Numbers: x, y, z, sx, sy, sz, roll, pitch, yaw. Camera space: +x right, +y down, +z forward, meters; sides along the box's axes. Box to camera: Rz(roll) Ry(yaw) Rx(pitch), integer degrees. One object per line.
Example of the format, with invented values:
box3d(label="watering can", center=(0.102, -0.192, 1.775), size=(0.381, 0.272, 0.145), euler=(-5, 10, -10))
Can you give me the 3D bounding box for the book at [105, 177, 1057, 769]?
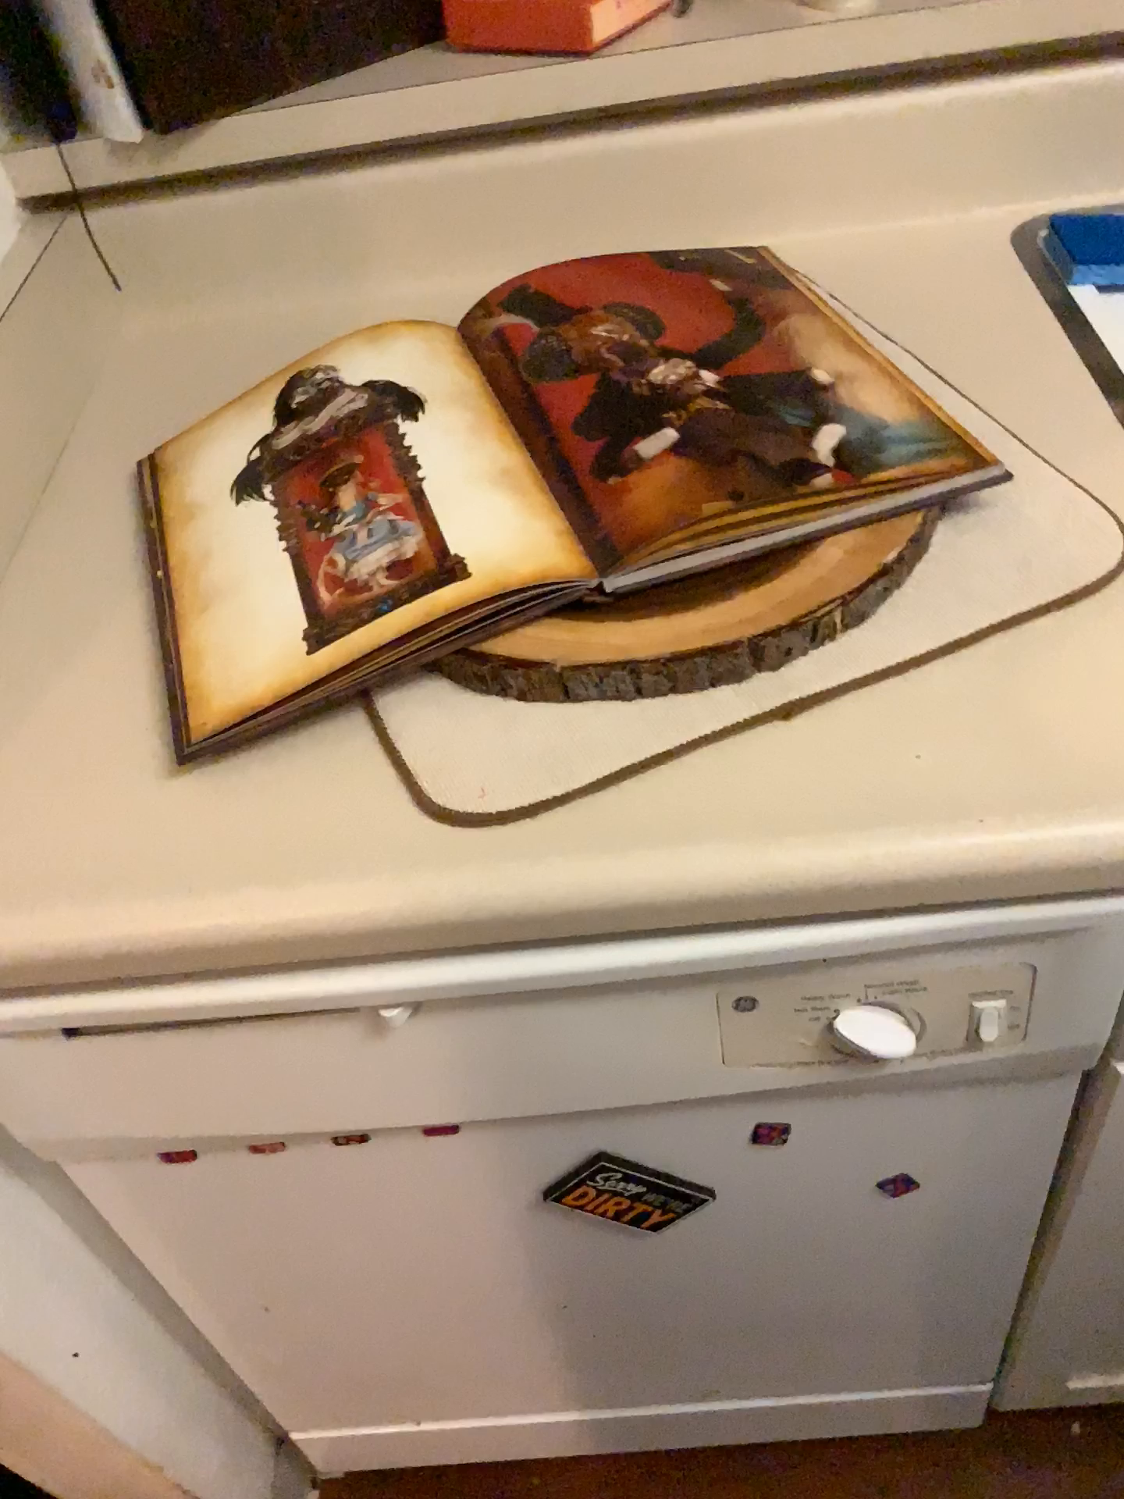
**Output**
box3d(label="book", center=(-0.021, -0.193, 0.733), size=(0.470, 0.040, 0.340), euler=(-19, 46, -6))
